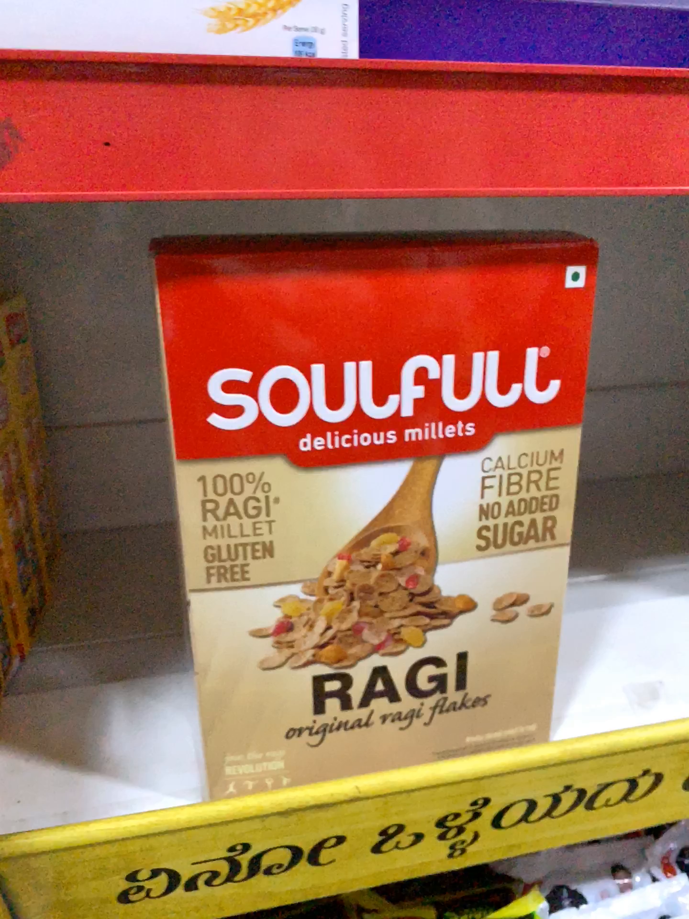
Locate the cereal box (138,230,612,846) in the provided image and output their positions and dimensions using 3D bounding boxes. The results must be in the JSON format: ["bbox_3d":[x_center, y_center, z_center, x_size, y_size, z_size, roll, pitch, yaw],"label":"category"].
[{"bbox_3d":[0.010,0.033,0.318,0.170,0.248,0.060,-5,20,-13],"label":"cereal box"}]
